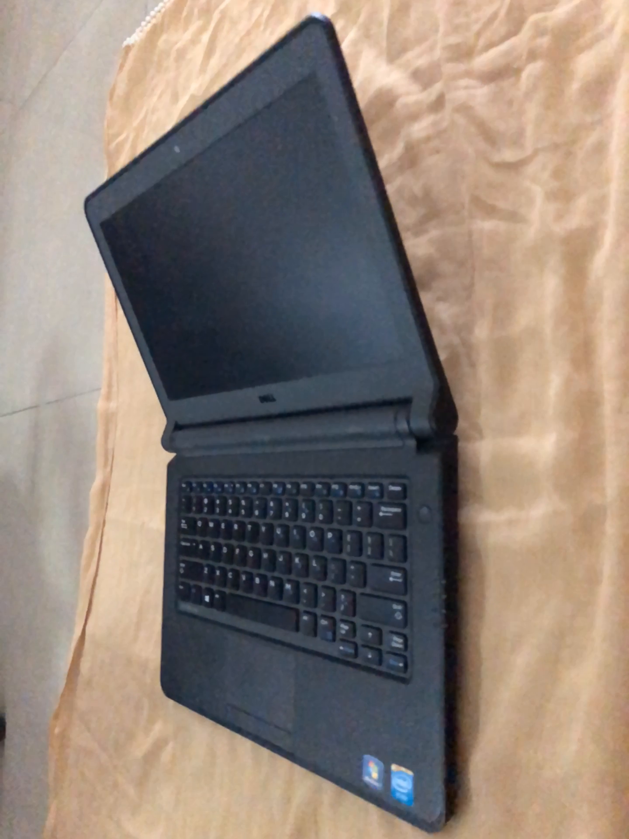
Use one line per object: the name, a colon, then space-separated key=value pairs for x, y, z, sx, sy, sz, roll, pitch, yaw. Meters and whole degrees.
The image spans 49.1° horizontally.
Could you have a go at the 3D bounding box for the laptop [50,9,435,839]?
laptop: x=-0.070 y=0.014 z=0.471 sx=0.310 sy=0.091 sz=0.409 roll=-6 pitch=81 yaw=50
